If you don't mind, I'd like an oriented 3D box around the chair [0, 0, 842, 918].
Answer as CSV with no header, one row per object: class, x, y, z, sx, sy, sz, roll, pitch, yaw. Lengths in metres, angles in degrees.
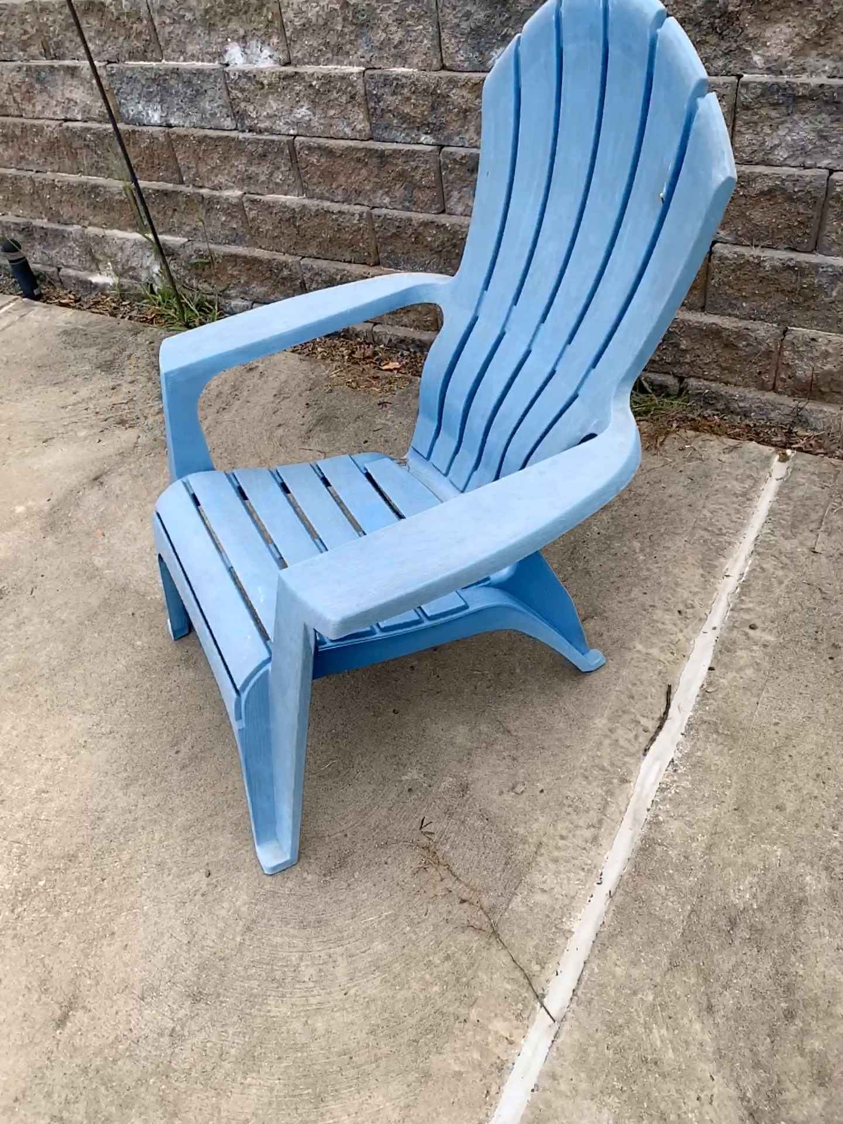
chair,-0.076,-0.197,1.152,0.760,0.885,0.704,-24,46,-13
